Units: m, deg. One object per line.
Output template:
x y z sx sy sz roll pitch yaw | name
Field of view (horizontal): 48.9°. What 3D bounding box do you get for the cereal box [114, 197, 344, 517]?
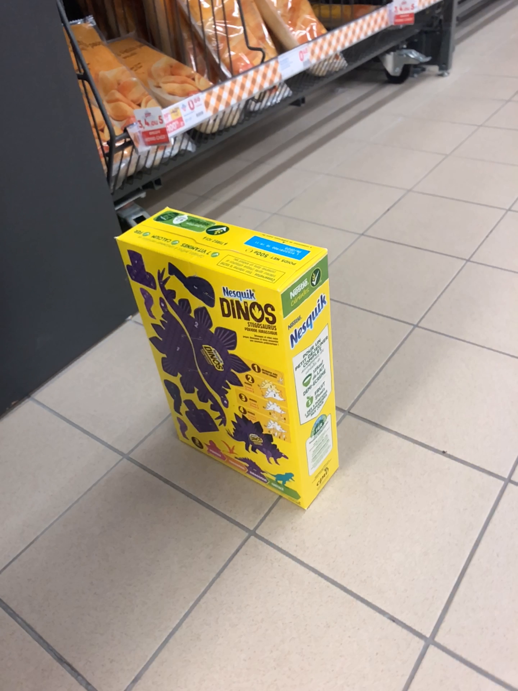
-0.018 0.018 0.591 0.200 0.298 0.070 21 47 31 | cereal box
